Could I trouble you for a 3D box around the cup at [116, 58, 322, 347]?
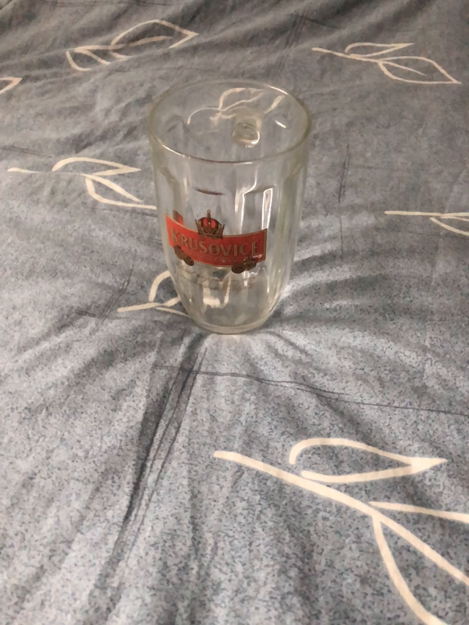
[{"bbox_3d":[0.001,-0.076,0.351,0.091,0.136,0.128,8,46,11],"label":"cup"}]
